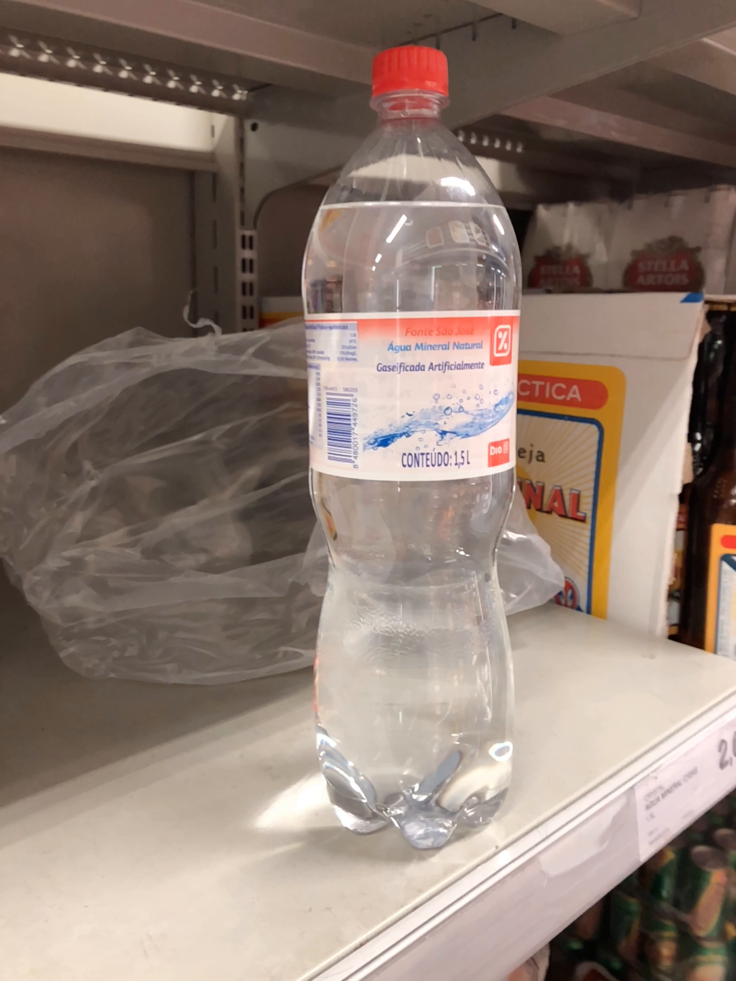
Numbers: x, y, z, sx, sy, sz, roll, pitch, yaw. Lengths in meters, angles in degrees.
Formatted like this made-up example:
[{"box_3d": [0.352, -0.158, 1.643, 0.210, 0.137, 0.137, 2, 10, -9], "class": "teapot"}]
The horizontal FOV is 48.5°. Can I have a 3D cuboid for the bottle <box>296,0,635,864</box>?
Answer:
[{"box_3d": [0.027, -0.021, 0.348, 0.100, 0.319, 0.100, 1, 13, 0], "class": "bottle"}]
